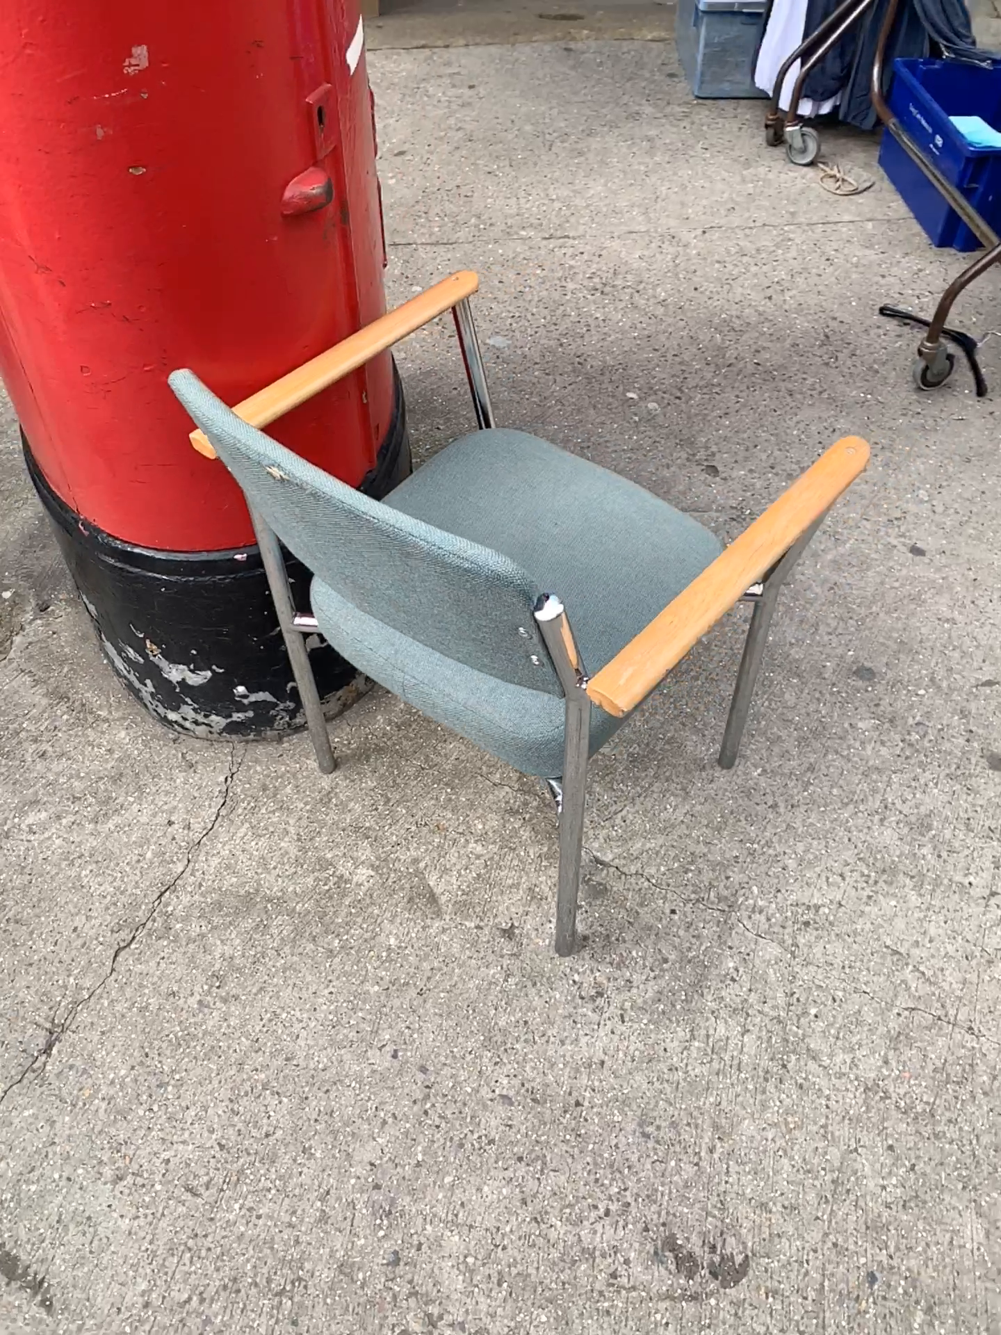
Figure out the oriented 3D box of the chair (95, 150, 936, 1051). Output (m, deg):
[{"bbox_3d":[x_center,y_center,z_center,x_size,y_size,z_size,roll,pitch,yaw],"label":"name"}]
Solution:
[{"bbox_3d":[0.024,-0.080,1.230,0.559,0.740,0.573,32,55,25],"label":"chair"}]
